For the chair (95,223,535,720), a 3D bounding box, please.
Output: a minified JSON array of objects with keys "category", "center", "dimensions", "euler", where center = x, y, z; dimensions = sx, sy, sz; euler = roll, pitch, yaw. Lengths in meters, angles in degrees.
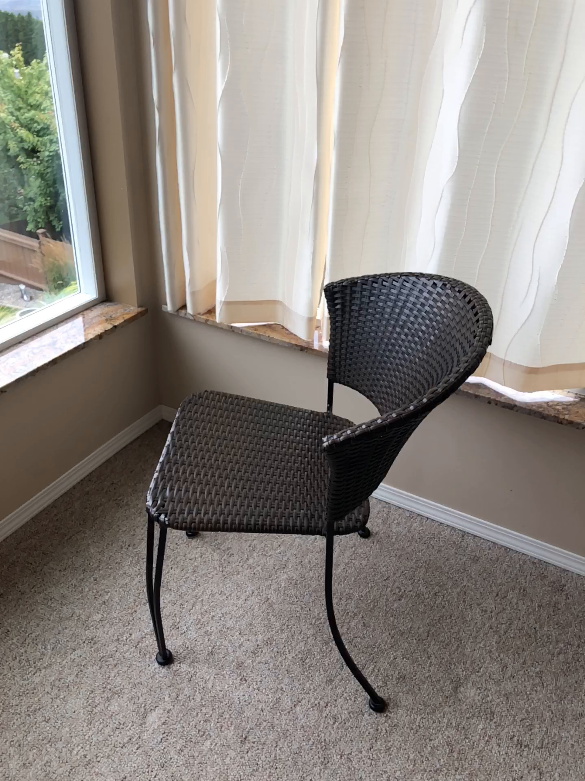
[{"category":"chair","center":[0.029,0.149,1.330],"dimensions":[0.610,0.787,0.562],"euler":[5,32,2]}]
